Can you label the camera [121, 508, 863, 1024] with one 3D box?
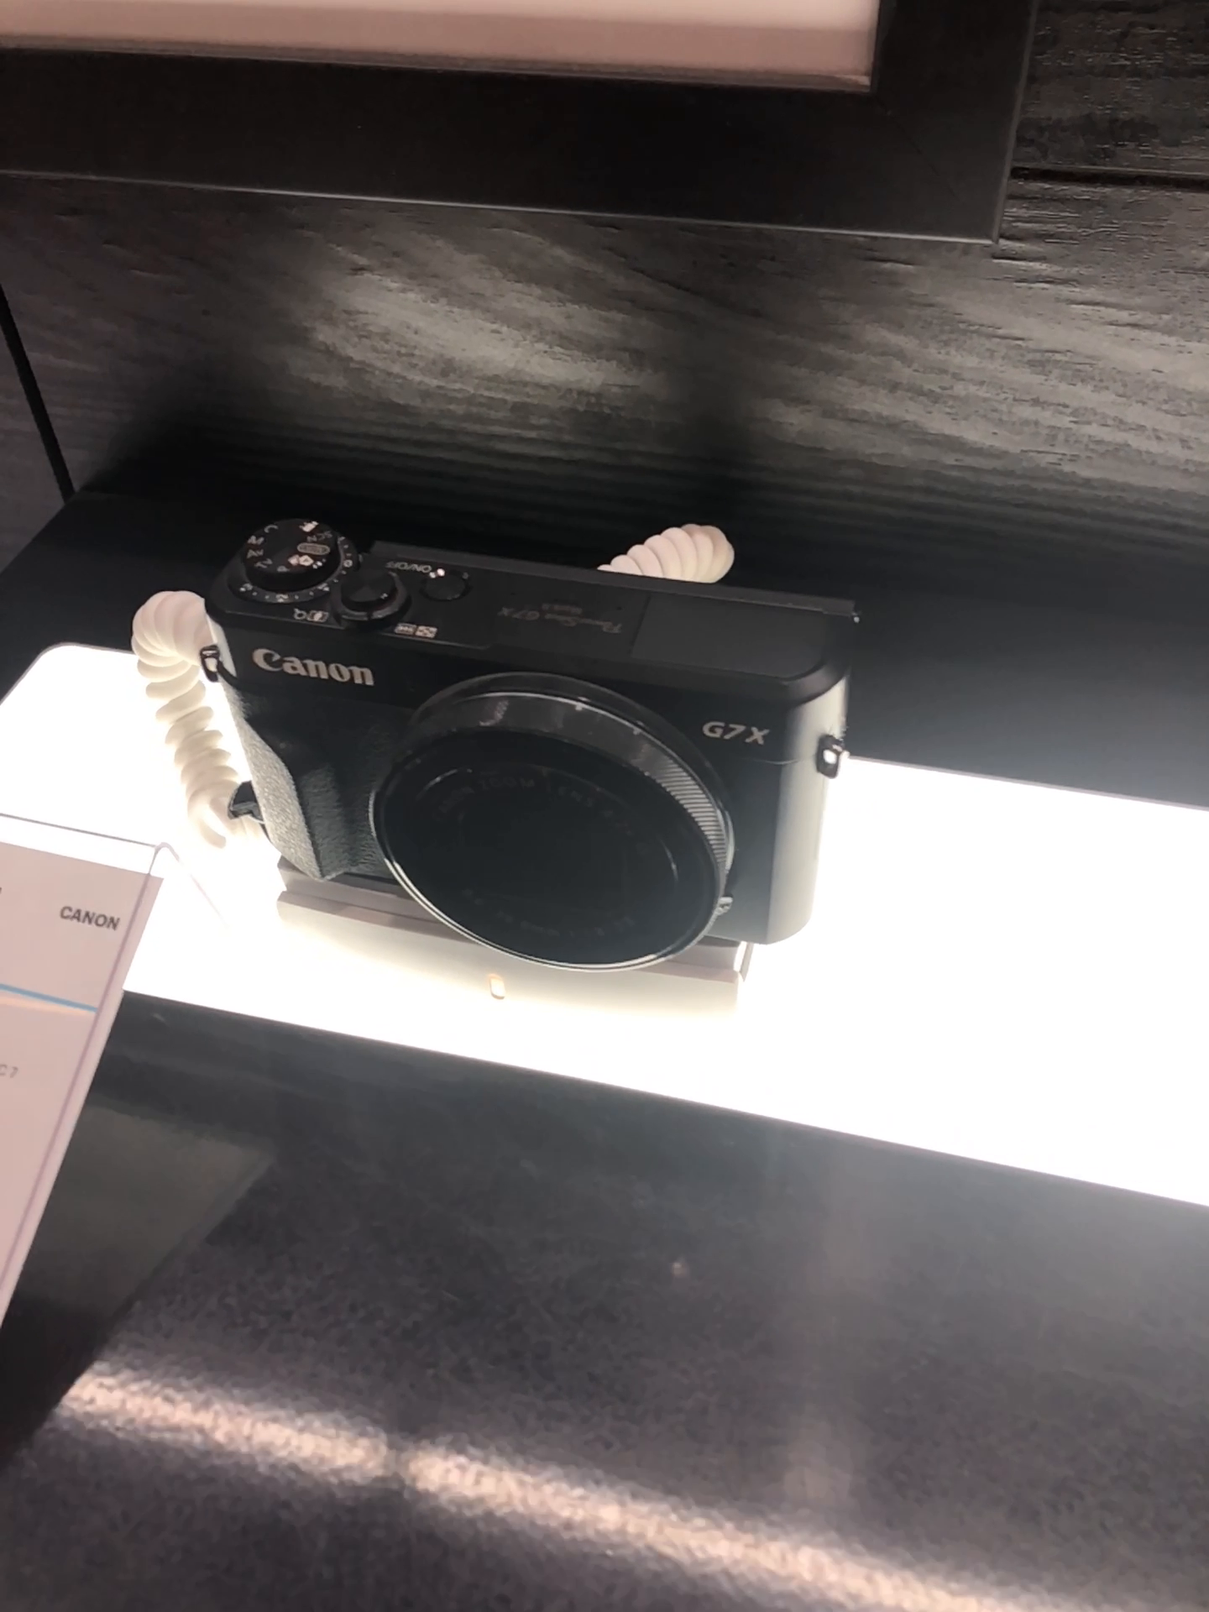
[{"bbox_3d":[-0.015,-0.007,0.213,0.100,0.056,0.038,9,45,12],"label":"camera"}]
